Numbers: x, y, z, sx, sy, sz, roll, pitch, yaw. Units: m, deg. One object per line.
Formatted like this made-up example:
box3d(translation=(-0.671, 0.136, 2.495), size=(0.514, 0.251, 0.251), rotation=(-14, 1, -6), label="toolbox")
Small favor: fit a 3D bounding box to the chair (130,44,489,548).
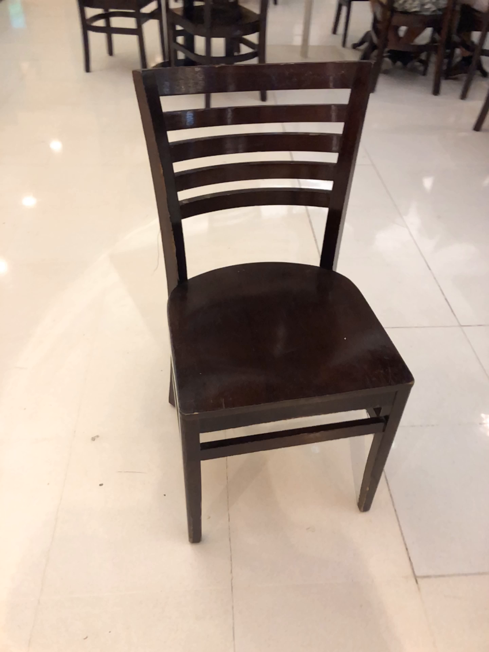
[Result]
box3d(translation=(0.053, -0.040, 1.107), size=(0.460, 0.844, 0.544), rotation=(-6, 42, -9), label="chair")
